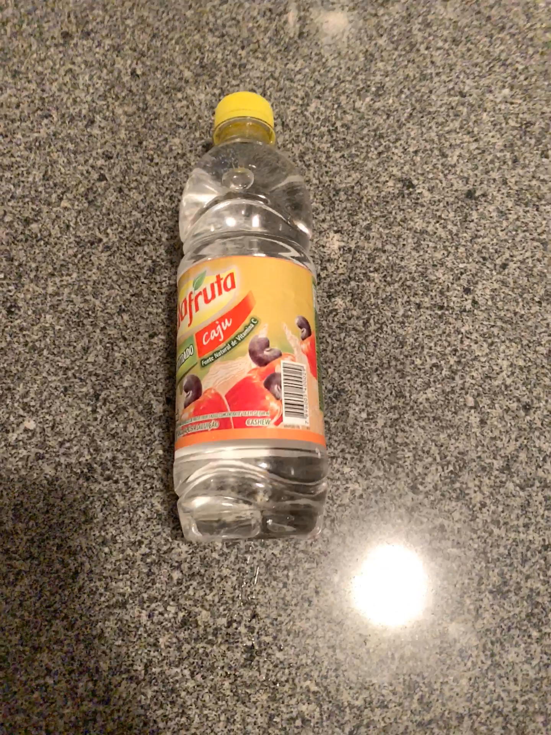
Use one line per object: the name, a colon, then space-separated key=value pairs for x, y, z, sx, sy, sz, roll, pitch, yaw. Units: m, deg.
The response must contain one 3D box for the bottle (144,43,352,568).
bottle: x=-0.016 y=-0.033 z=0.258 sx=0.070 sy=0.060 sz=0.230 roll=-2 pitch=71 yaw=-3
